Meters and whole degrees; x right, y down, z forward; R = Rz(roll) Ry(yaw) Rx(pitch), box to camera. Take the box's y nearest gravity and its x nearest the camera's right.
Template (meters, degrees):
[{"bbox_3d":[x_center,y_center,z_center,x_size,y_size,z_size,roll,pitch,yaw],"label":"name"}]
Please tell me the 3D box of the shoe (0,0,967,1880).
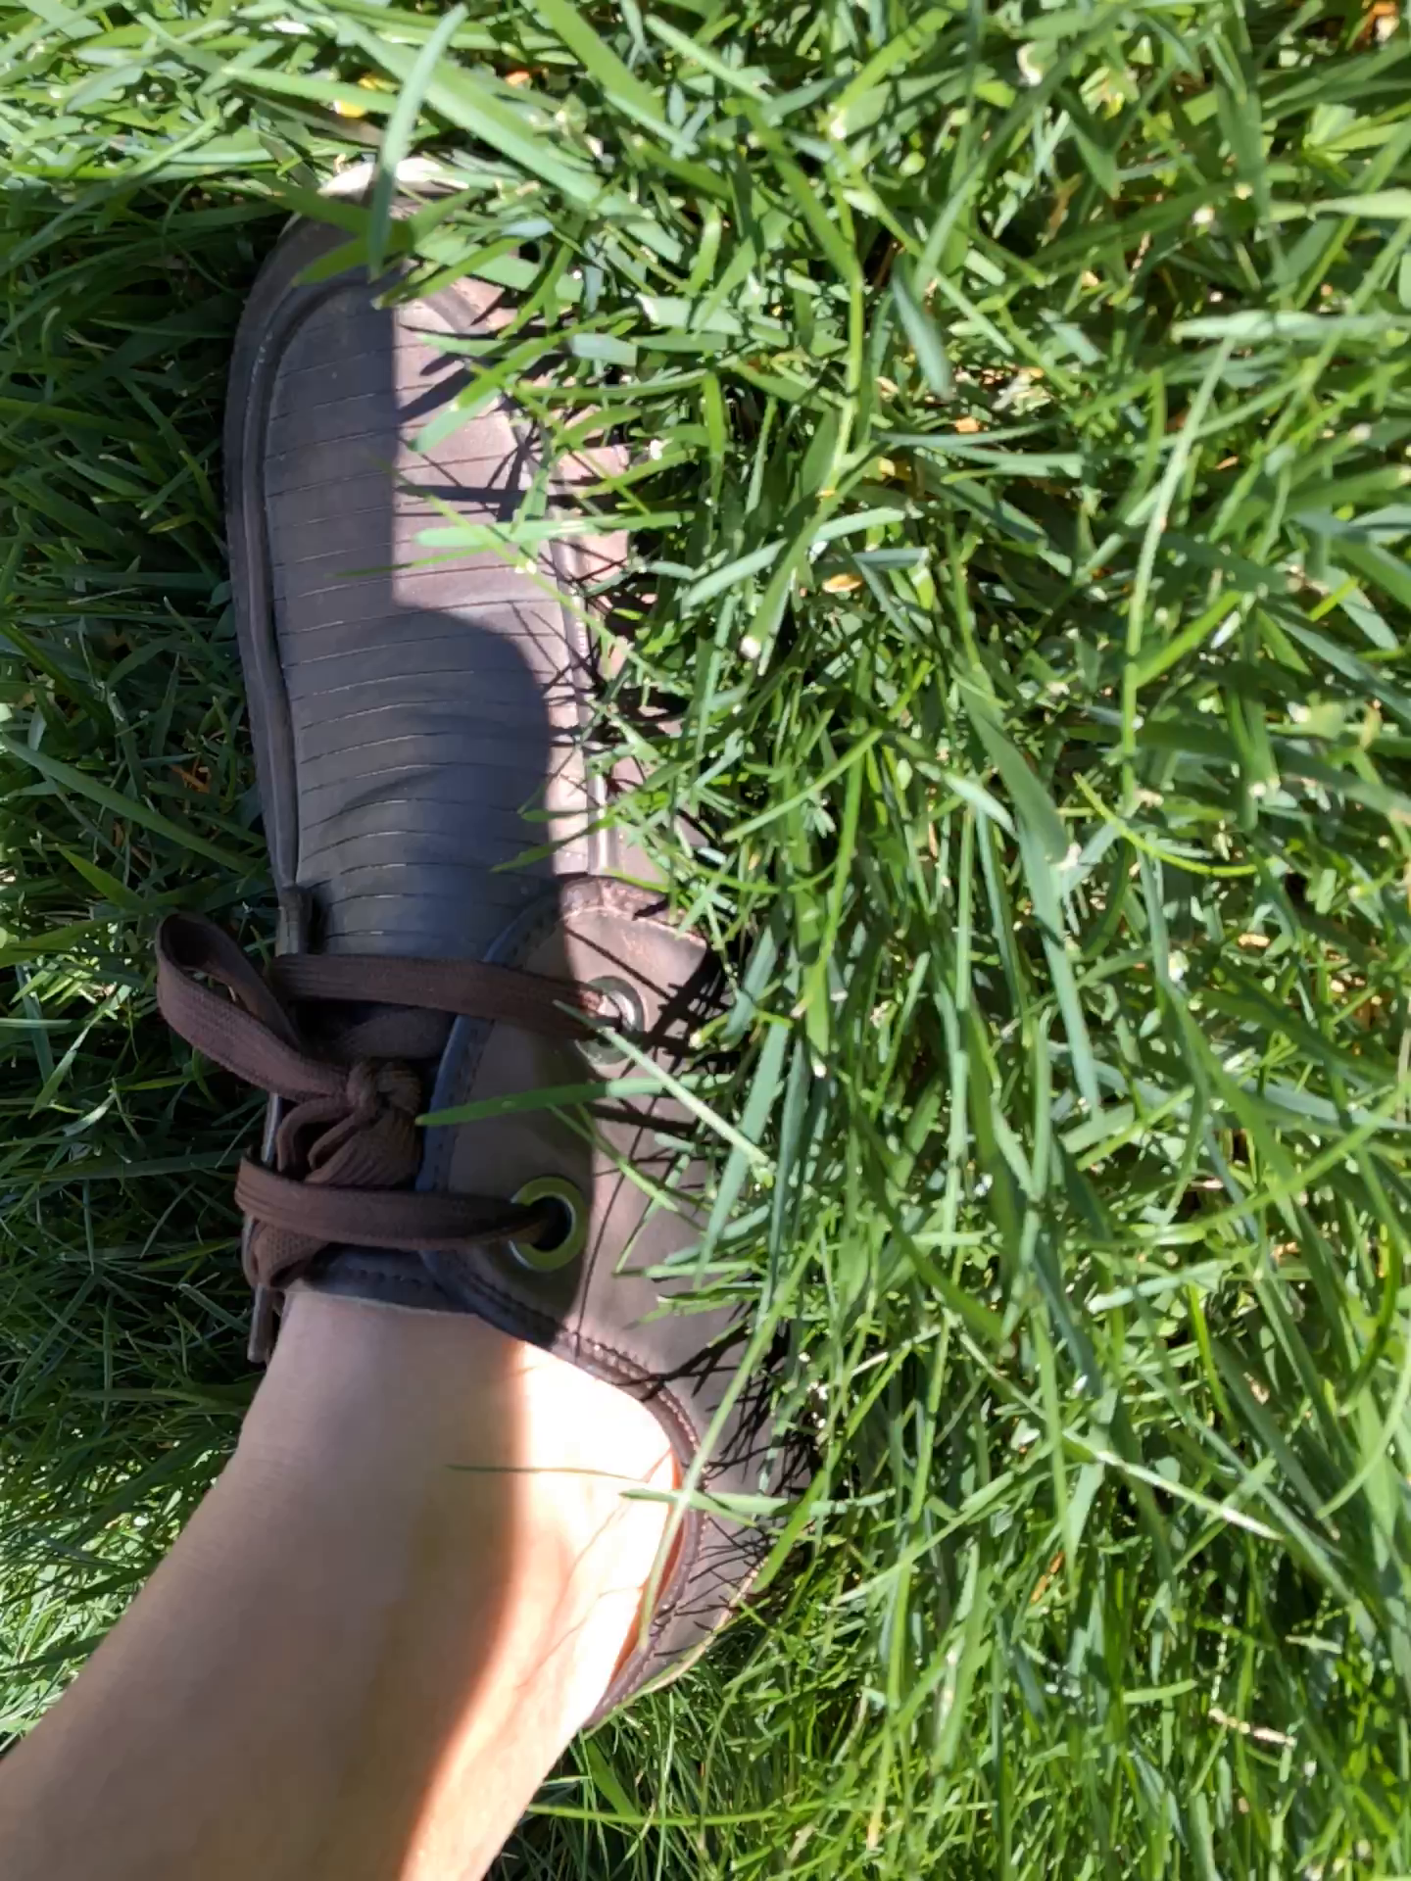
[{"bbox_3d":[-0.038,0.021,0.263,0.112,0.093,0.281,-2,110,24],"label":"shoe"}]
